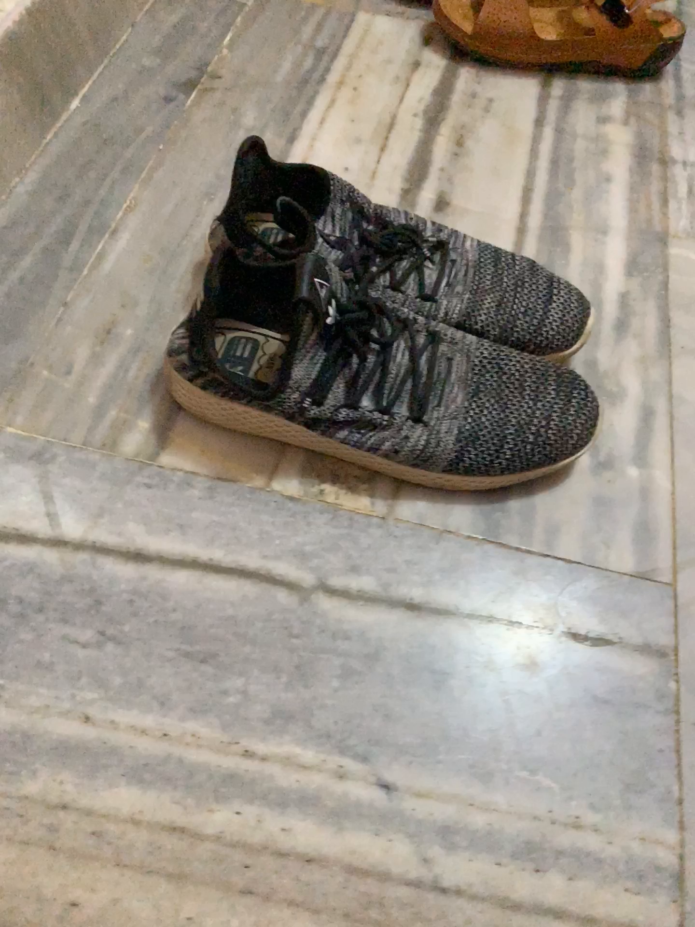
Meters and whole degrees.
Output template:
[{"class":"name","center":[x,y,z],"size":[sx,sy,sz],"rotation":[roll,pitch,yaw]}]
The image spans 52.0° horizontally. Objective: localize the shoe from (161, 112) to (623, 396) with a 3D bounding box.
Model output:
[{"class":"shoe","center":[0.033,-0.157,0.526],"size":[0.300,0.080,0.120],"rotation":[15,58,6]}]

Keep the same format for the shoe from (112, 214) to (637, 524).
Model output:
[{"class":"shoe","center":[0.022,-0.064,0.465],"size":[0.300,0.080,0.120],"rotation":[12,58,4]}]
